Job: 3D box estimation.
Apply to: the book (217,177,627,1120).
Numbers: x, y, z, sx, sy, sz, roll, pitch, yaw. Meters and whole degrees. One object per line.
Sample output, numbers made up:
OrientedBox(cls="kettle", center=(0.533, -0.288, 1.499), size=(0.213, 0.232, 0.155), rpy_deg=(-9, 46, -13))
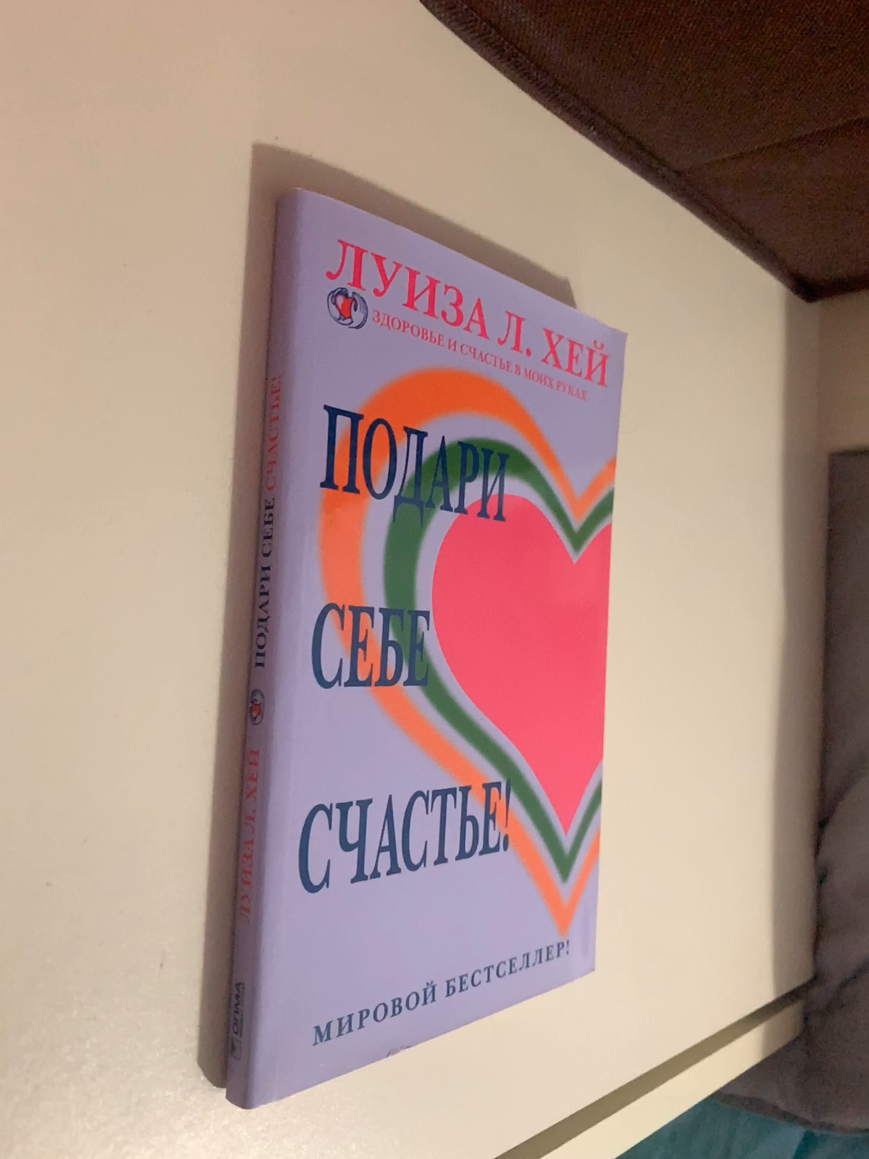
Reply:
OrientedBox(cls="book", center=(0.007, 0.016, 0.236), size=(0.124, 0.016, 0.194), rpy_deg=(5, 86, -46))
